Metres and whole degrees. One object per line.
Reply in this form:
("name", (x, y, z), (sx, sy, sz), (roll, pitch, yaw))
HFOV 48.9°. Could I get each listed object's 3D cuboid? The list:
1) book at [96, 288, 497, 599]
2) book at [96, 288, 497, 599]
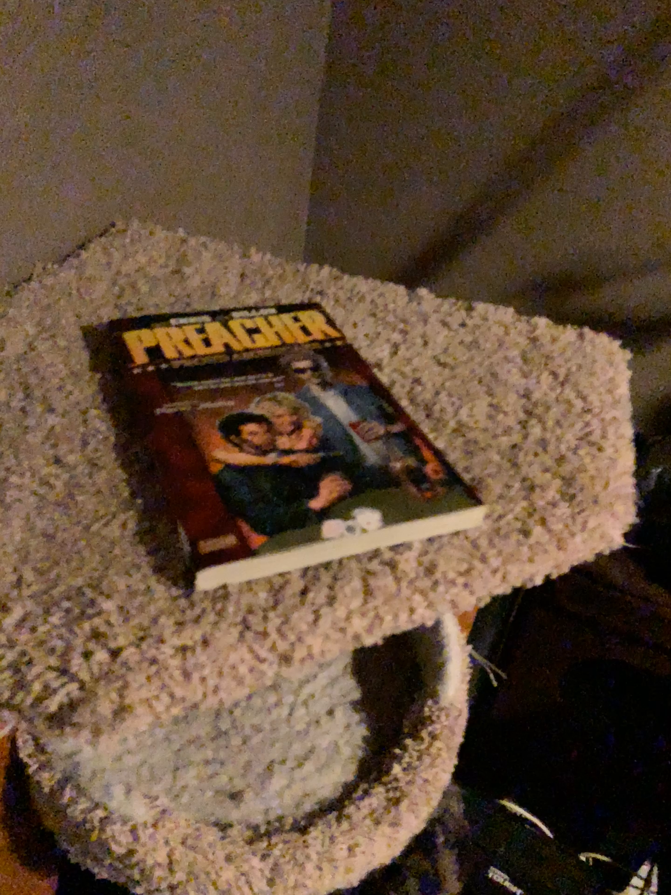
("book", (-0.042, -0.028, 0.481), (0.170, 0.020, 0.270), (-10, 41, -23))
("book", (-0.042, -0.028, 0.481), (0.170, 0.020, 0.270), (-10, 41, -23))
